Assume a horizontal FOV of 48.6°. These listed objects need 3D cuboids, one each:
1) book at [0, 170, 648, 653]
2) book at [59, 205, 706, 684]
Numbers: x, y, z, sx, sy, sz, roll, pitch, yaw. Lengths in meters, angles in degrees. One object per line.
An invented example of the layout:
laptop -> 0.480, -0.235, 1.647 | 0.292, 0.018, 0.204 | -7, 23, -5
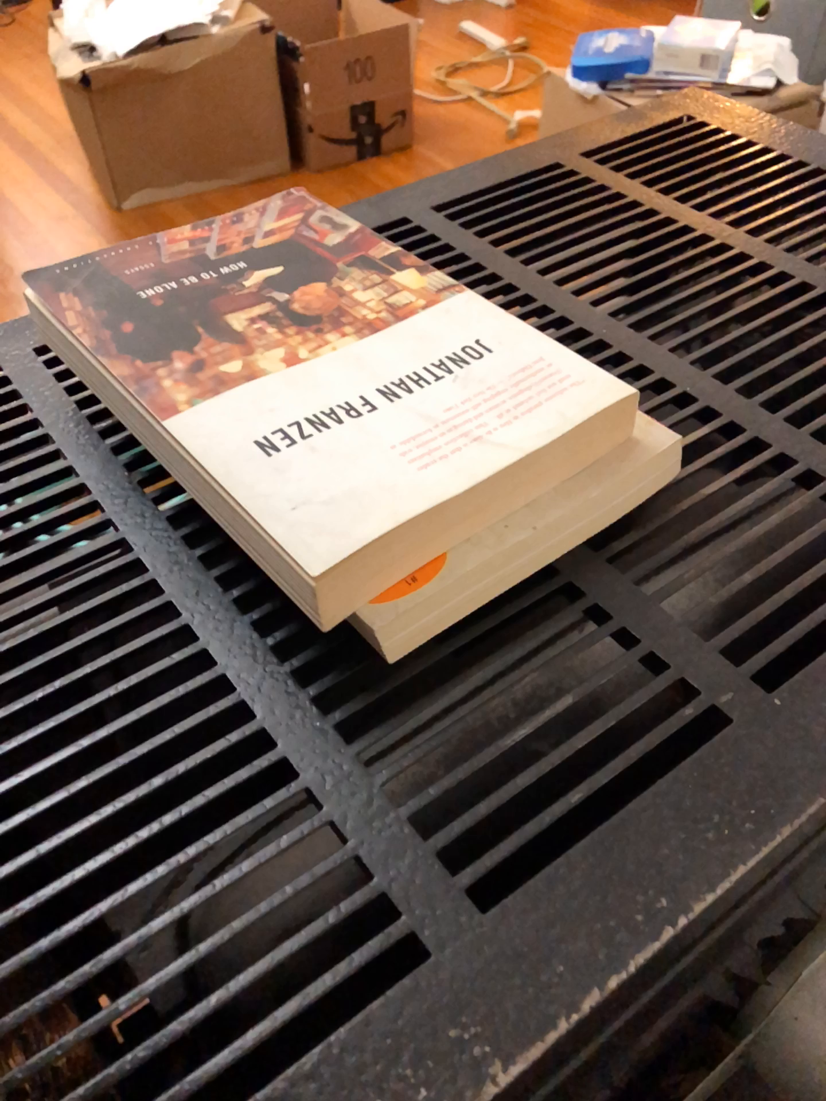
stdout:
book -> -0.044, -0.074, 0.347 | 0.150, 0.030, 0.211 | -31, 53, -26
book -> -0.020, -0.063, 0.362 | 0.150, 0.030, 0.211 | -31, 53, -26
